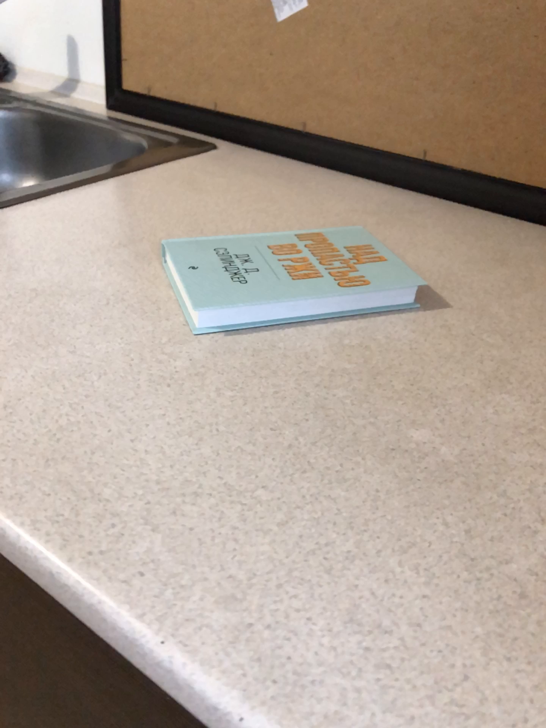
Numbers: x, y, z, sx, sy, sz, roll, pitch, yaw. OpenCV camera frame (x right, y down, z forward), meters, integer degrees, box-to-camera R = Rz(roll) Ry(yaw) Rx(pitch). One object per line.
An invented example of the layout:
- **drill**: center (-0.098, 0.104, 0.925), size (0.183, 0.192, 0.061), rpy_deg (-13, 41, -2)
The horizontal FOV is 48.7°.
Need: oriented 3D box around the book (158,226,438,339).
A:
- **book**: center (0.013, -0.066, 0.444), size (0.175, 0.020, 0.115), rpy_deg (-8, 35, -17)
